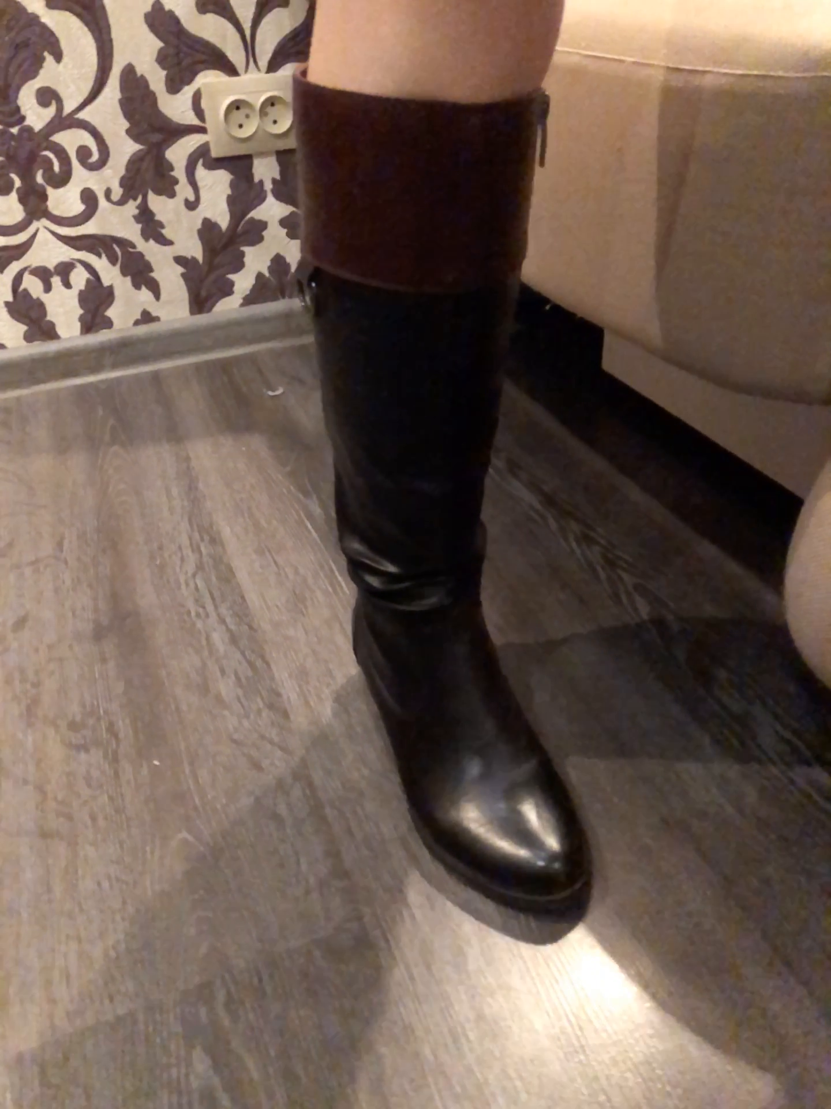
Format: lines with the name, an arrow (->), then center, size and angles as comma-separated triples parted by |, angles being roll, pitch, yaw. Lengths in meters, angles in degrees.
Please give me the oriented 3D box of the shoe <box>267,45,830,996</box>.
shoe -> 0.036, -0.020, 0.490 | 0.110, 0.417, 0.272 | -15, 36, -17
